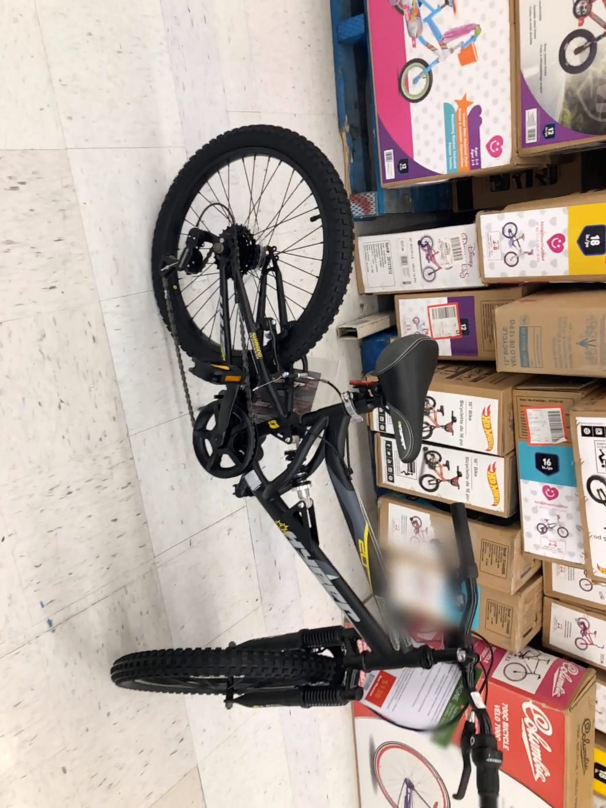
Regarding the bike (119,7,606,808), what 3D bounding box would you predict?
[{"bbox_3d":[0.207,0.084,1.422,0.525,0.849,1.259,-17,104,-47],"label":"bike"}]
